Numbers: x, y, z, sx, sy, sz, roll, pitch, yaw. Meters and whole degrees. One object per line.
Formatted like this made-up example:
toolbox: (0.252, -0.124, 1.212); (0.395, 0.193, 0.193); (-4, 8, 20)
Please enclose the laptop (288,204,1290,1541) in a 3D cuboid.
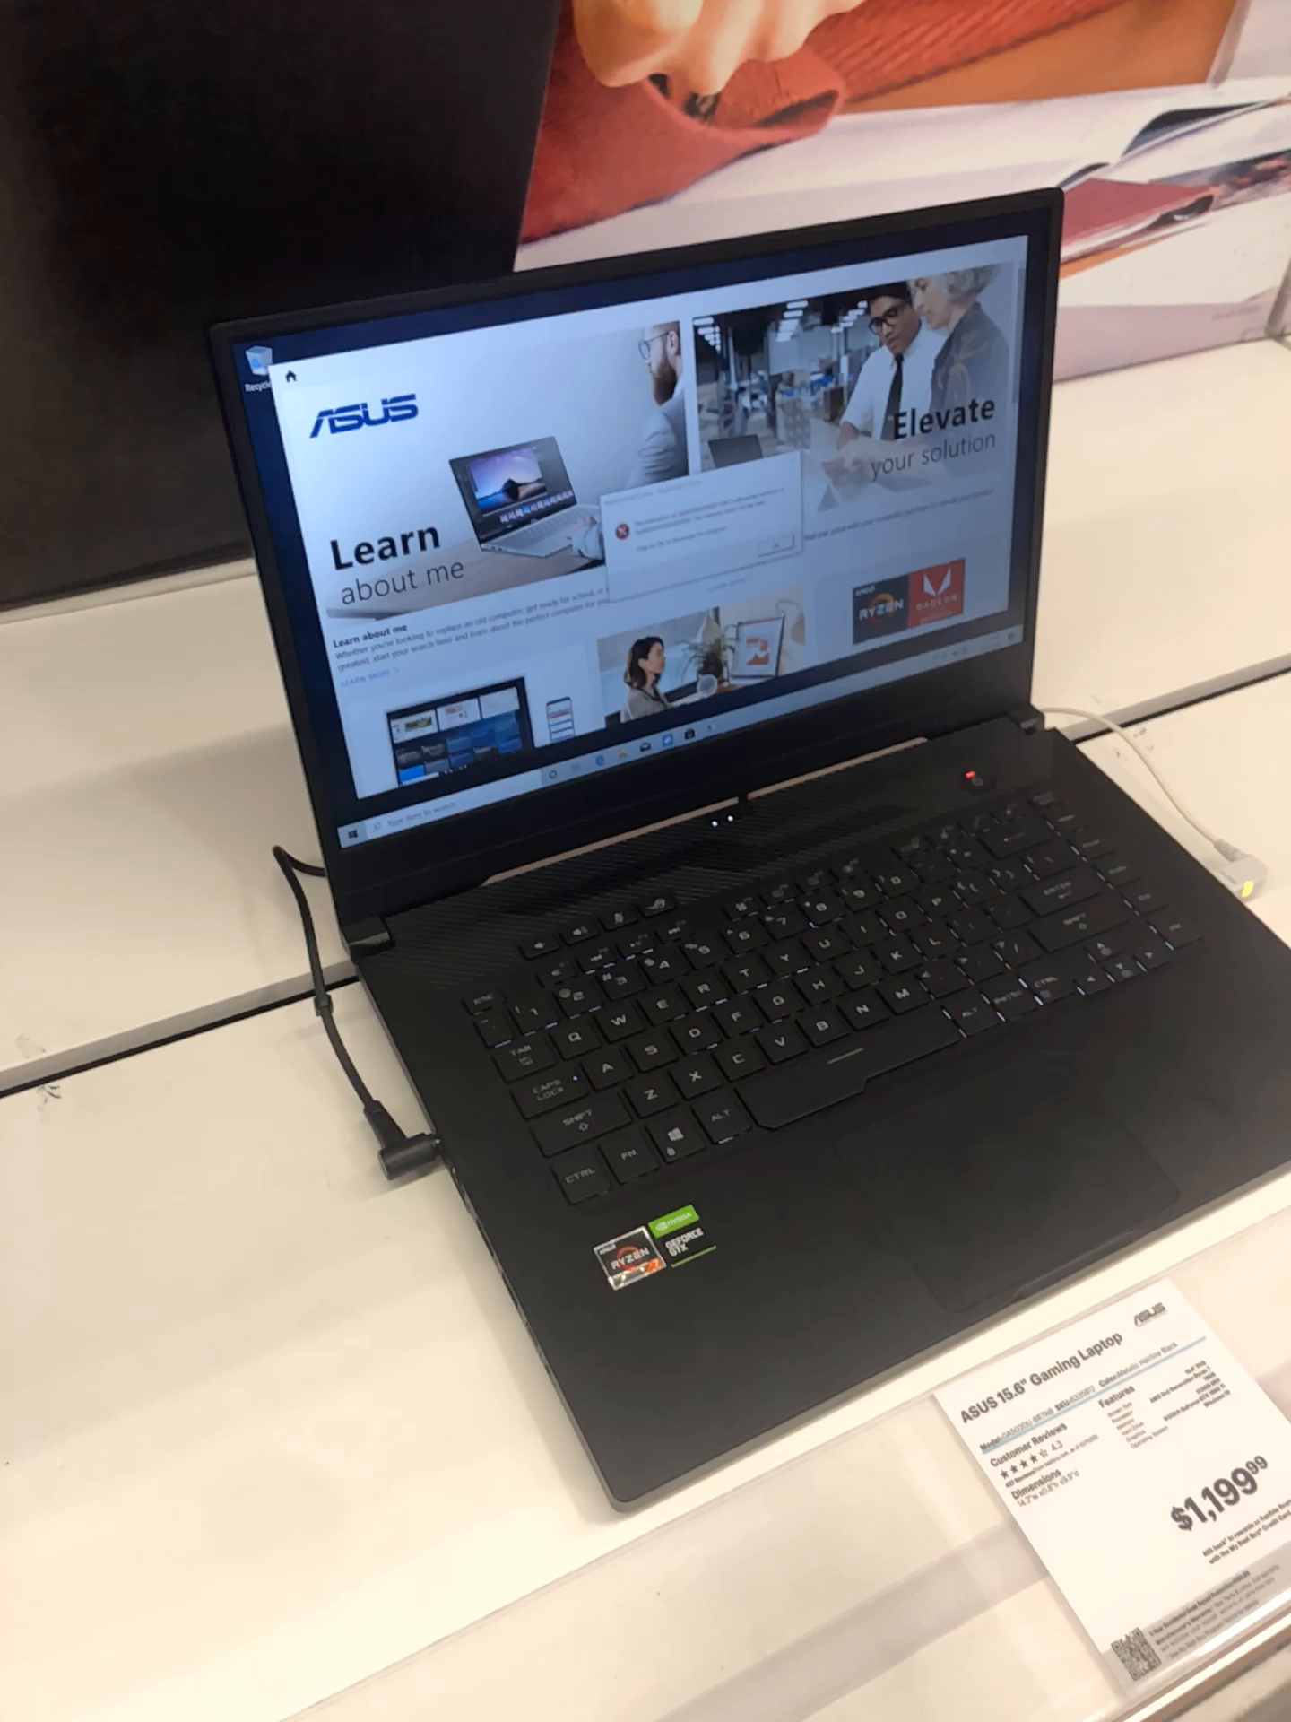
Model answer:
laptop: (0.108, -0.034, 0.489); (0.352, 0.222, 0.310); (-18, 49, -21)
